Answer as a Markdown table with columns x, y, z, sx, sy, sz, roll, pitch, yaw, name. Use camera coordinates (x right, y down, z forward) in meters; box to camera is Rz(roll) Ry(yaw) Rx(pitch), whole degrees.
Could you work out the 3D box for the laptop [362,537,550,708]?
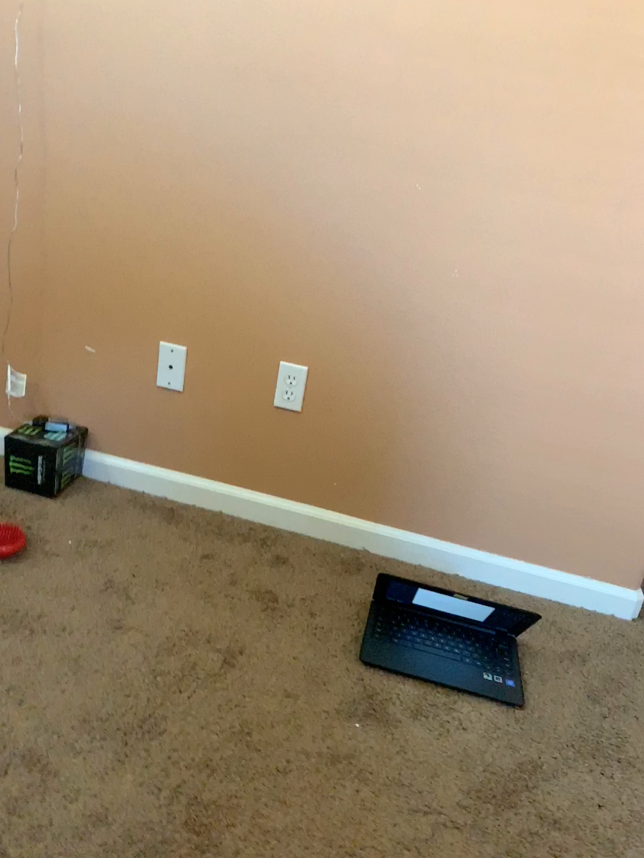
| x | y | z | sx | sy | sz | roll | pitch | yaw | name |
| --- | --- | --- | --- | --- | --- | --- | --- | --- | --- |
| 0.241 | 0.345 | 1.216 | 0.292 | 0.140 | 0.193 | 14 | 21 | 7 | laptop |
